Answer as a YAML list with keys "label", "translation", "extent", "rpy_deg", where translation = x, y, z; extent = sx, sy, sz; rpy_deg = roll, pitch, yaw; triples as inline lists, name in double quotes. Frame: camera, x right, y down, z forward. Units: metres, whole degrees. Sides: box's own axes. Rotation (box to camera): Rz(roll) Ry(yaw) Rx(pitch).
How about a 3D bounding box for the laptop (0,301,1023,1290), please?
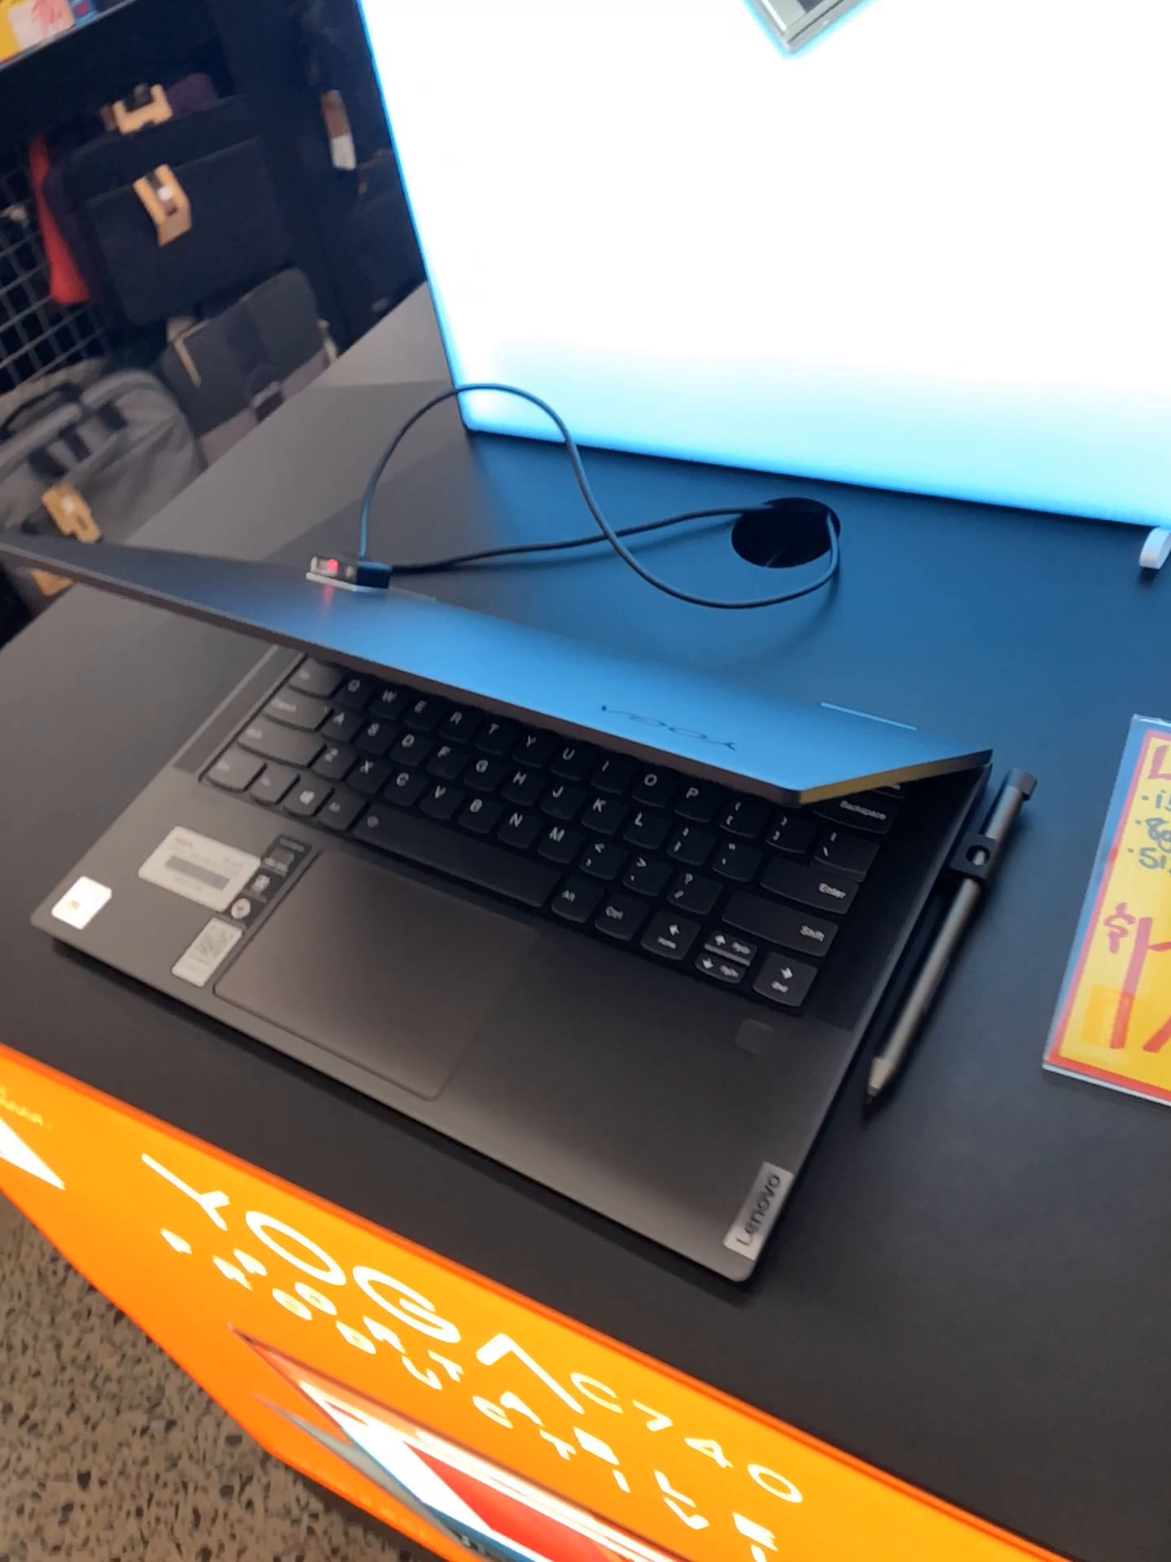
- label: "laptop"
  translation: [-0.048, -0.025, 0.443]
  extent: [0.320, 0.144, 0.210]
  rpy_deg: [18, 55, 28]
